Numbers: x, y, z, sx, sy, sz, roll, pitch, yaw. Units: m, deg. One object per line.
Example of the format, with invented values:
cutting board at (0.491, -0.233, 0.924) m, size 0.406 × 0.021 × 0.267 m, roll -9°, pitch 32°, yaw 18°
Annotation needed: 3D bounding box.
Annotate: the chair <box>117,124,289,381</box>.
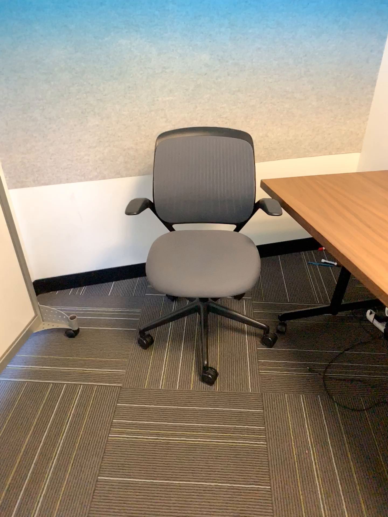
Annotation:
chair at (0.048, -0.031, 1.699) m, size 0.540 × 0.934 × 0.533 m, roll 3°, pitch 31°, yaw 5°
